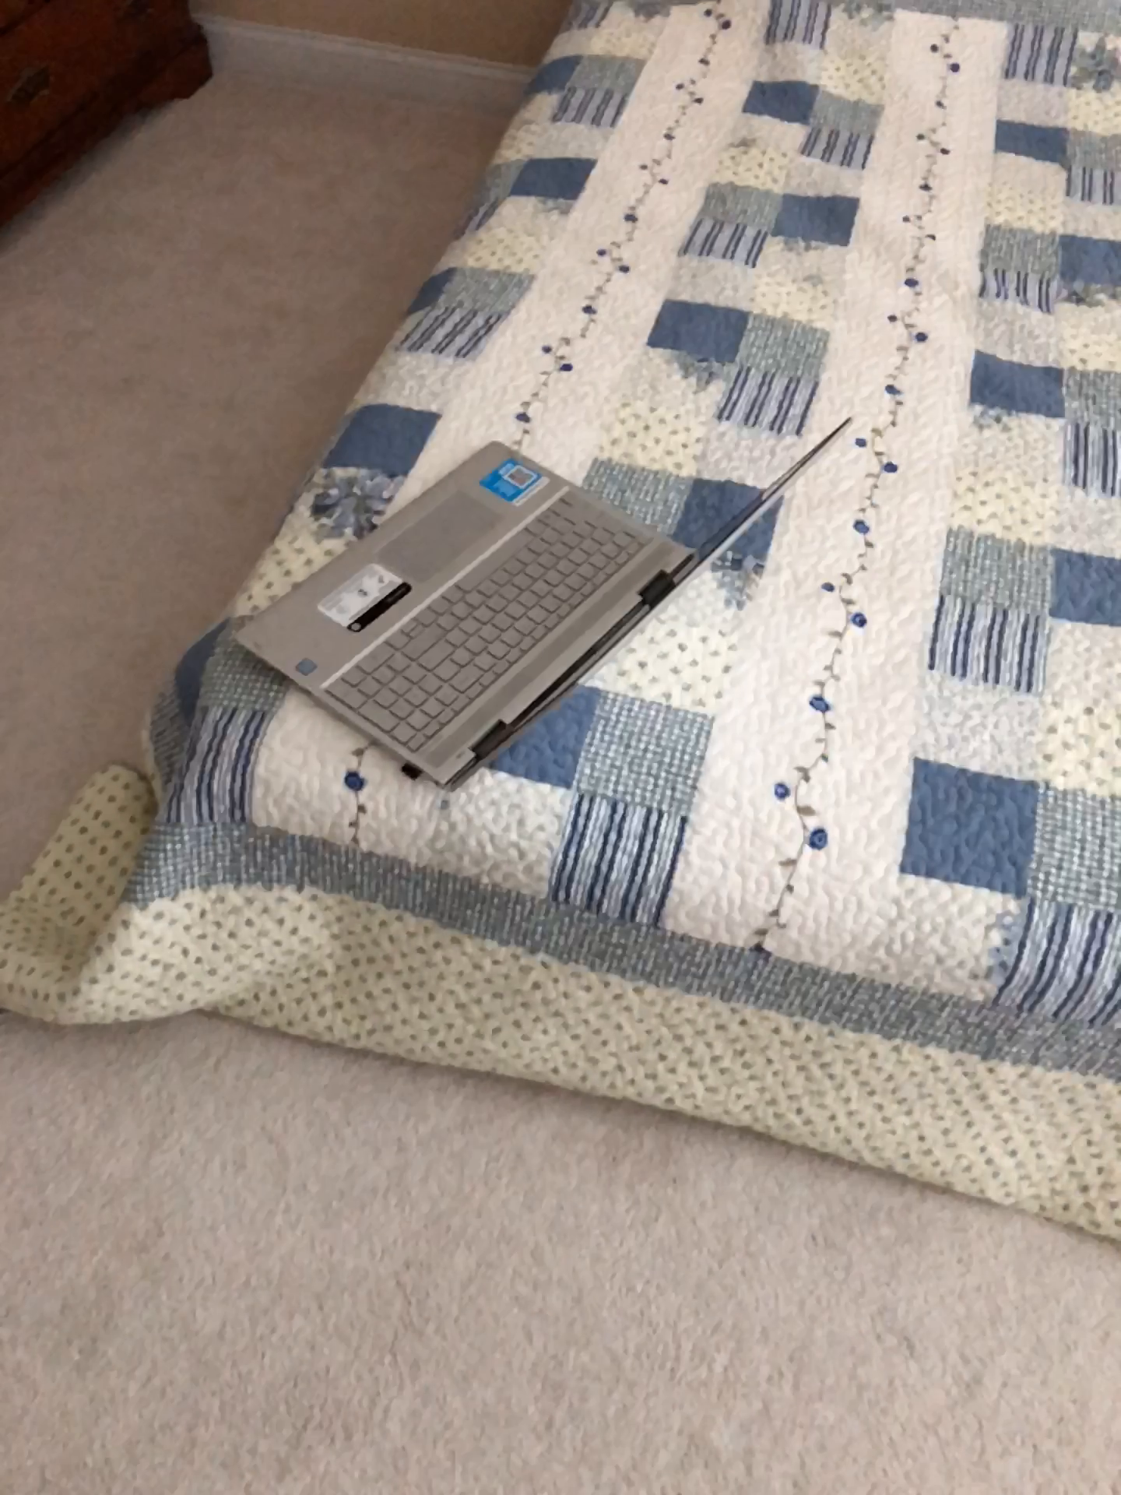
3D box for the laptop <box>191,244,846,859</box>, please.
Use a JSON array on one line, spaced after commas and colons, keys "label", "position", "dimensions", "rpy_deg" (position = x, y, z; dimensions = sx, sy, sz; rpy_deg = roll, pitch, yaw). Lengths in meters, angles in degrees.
[{"label": "laptop", "position": [-0.029, -0.181, 1.021], "dimensions": [0.358, 0.208, 0.356], "rpy_deg": [33, 56, 20]}]
